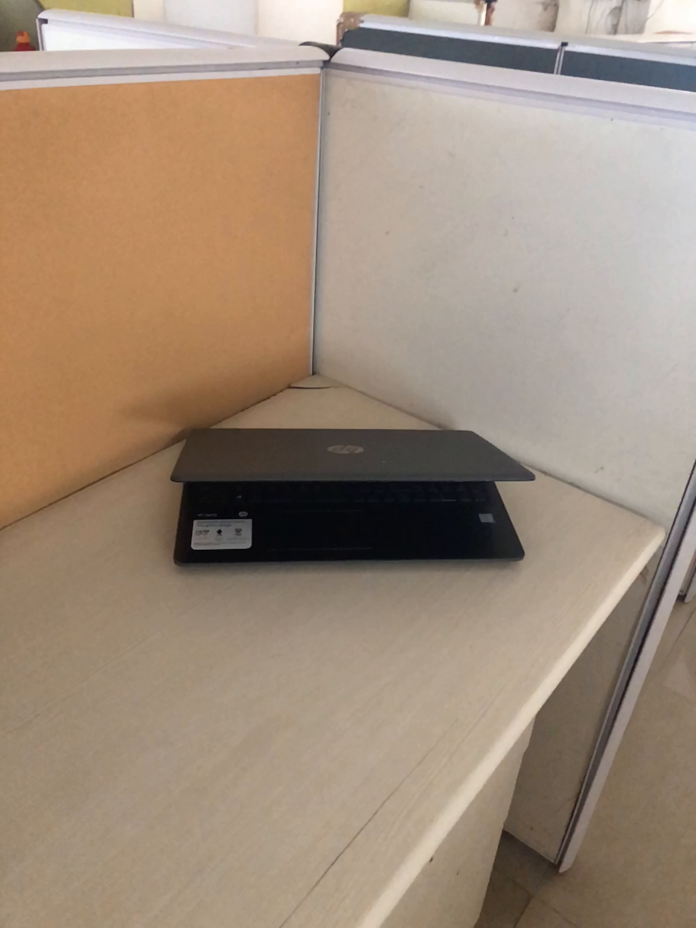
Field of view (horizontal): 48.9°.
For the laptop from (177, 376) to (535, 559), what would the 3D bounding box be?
[{"bbox_3d":[-0.002,-0.005,0.881,0.362,0.074,0.239,0,36,-7],"label":"laptop"}]
